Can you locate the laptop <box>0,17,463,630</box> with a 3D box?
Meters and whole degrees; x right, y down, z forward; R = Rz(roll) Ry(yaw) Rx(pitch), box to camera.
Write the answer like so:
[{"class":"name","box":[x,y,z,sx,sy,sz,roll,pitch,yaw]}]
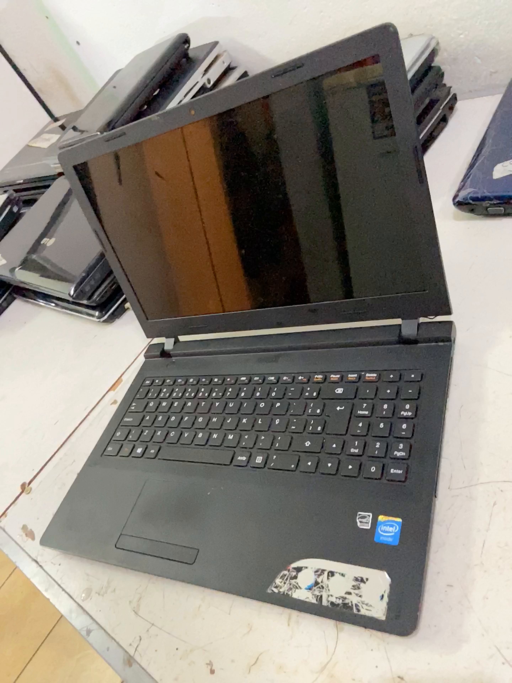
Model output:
[{"class":"laptop","box":[-0.061,-0.013,0.450,0.376,0.230,0.338,-4,48,33]}]
